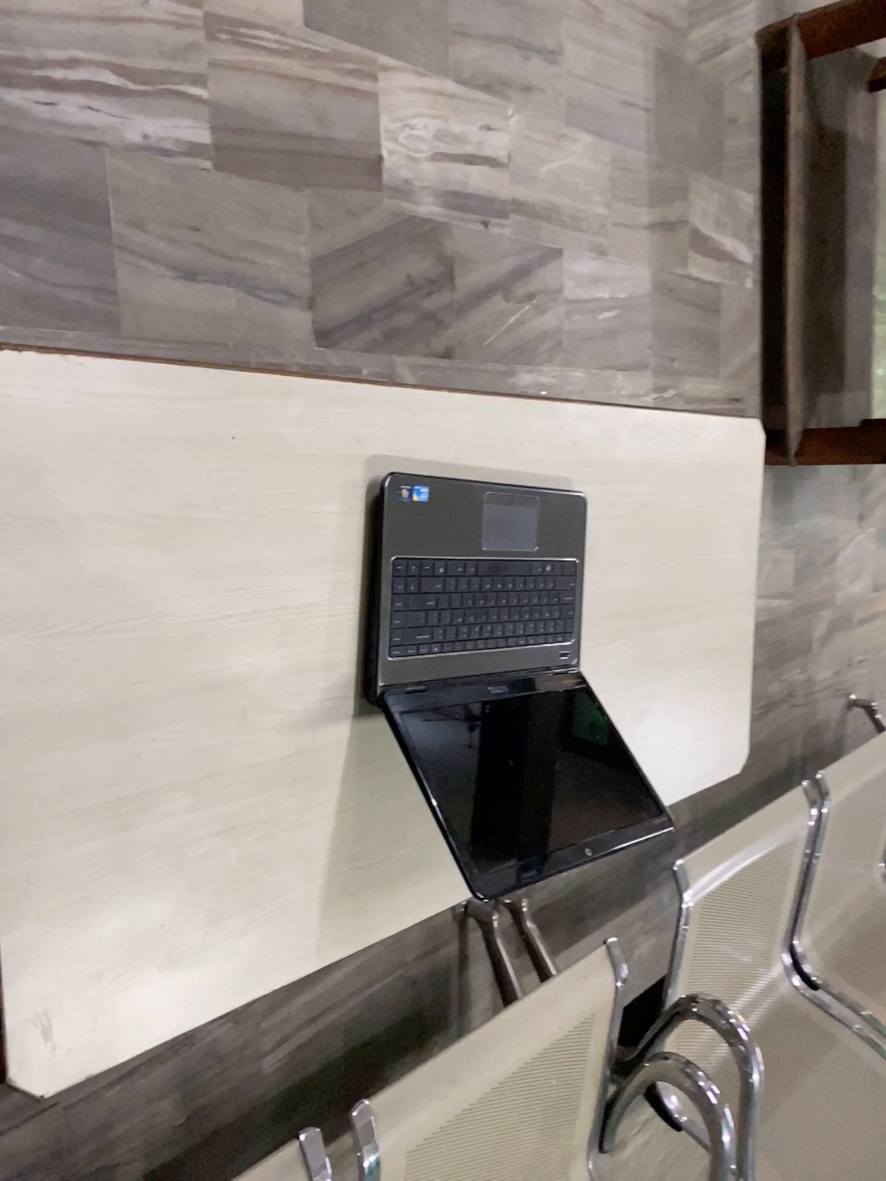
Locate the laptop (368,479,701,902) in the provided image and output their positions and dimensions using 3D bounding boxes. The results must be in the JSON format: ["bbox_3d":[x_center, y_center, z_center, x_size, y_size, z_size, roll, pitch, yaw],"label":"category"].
[{"bbox_3d":[0.106,0.083,0.962,0.330,0.152,0.378,-1,96,-43],"label":"laptop"}]
